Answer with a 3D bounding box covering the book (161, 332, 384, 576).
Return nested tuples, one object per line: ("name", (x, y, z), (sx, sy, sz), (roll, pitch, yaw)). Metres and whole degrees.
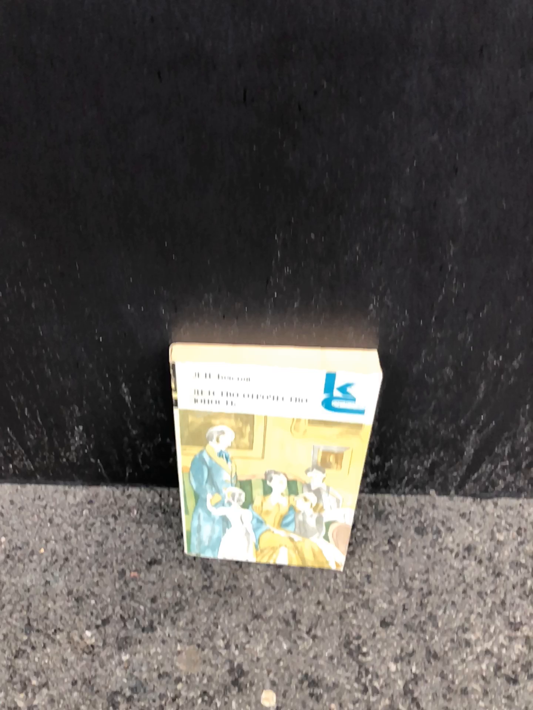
("book", (0.000, 0.073, 0.384), (0.120, 0.185, 0.030), (4, 37, 1))
